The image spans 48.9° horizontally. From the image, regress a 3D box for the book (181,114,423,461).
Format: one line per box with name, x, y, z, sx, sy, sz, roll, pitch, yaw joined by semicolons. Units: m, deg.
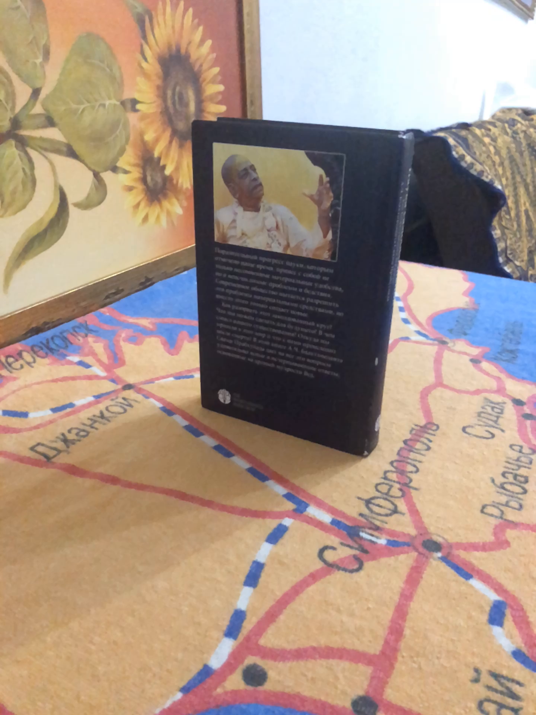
book;0.014;-0.044;0.387;0.140;0.205;0.030;14;30;24
